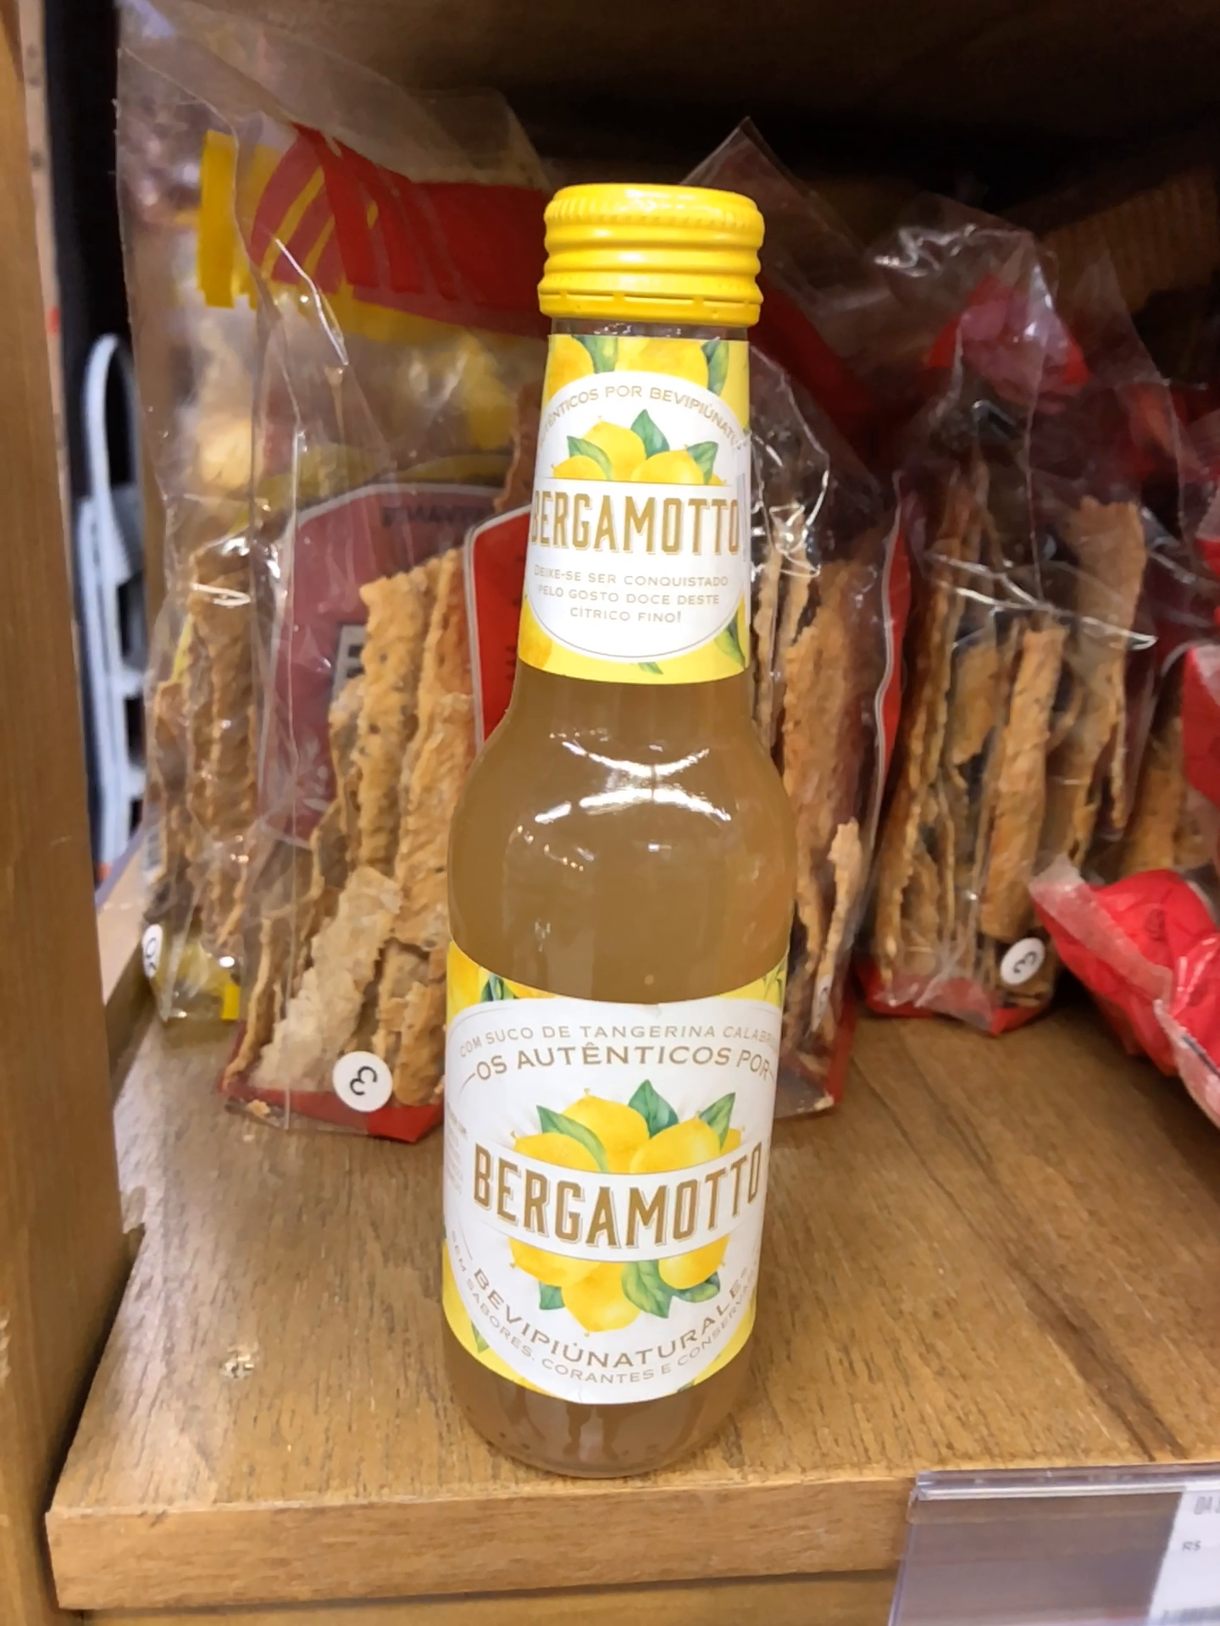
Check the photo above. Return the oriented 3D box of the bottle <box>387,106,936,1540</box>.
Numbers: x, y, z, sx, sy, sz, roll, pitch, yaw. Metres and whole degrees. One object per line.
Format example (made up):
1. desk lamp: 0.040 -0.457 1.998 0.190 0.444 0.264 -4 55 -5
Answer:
1. bottle: -0.003 0.008 0.212 0.060 0.199 0.060 4 18 -1
